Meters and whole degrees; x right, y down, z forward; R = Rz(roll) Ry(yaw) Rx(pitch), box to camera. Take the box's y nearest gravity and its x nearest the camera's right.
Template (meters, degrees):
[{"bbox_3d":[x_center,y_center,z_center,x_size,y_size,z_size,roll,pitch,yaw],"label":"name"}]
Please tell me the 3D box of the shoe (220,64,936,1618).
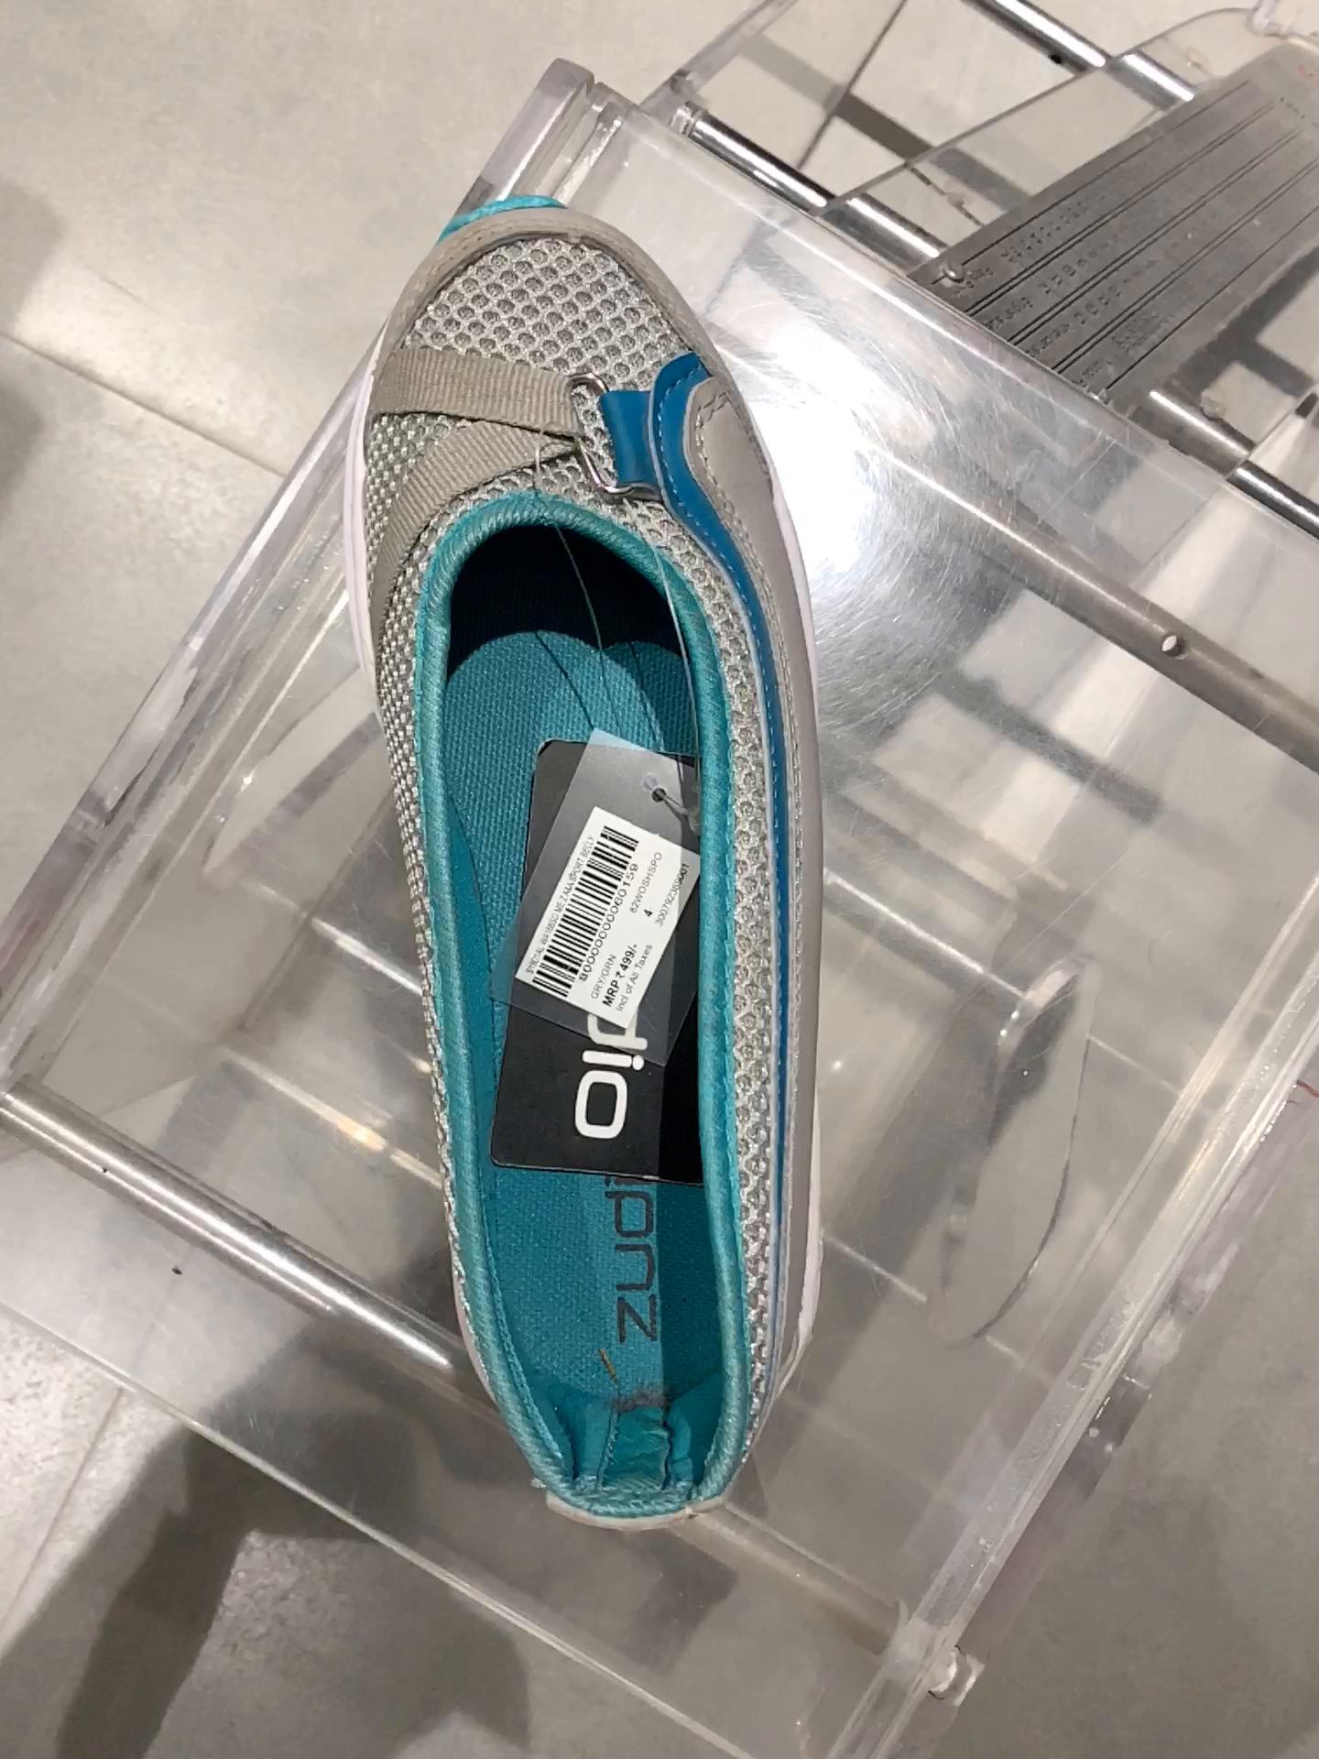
[{"bbox_3d":[-0.016,-0.007,0.285,0.090,0.080,0.270,-9,91,-3],"label":"shoe"}]
